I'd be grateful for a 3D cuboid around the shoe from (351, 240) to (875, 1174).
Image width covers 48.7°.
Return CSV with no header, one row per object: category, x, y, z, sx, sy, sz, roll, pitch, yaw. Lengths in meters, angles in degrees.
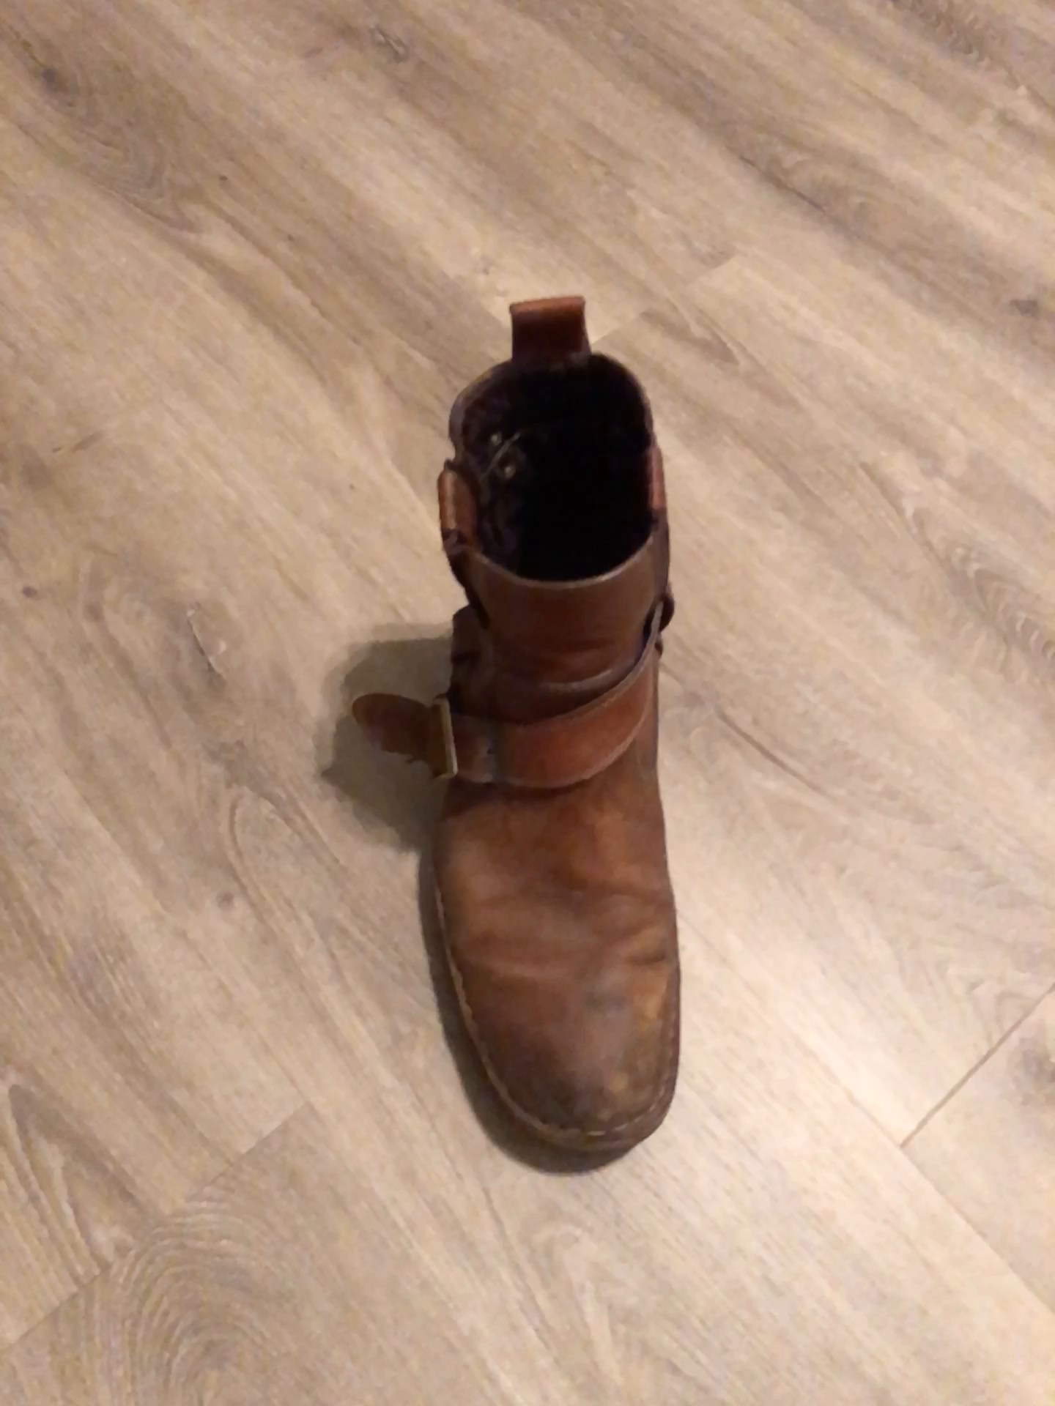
shoe,0.009,0.008,0.450,0.130,0.210,0.291,-2,61,-3
